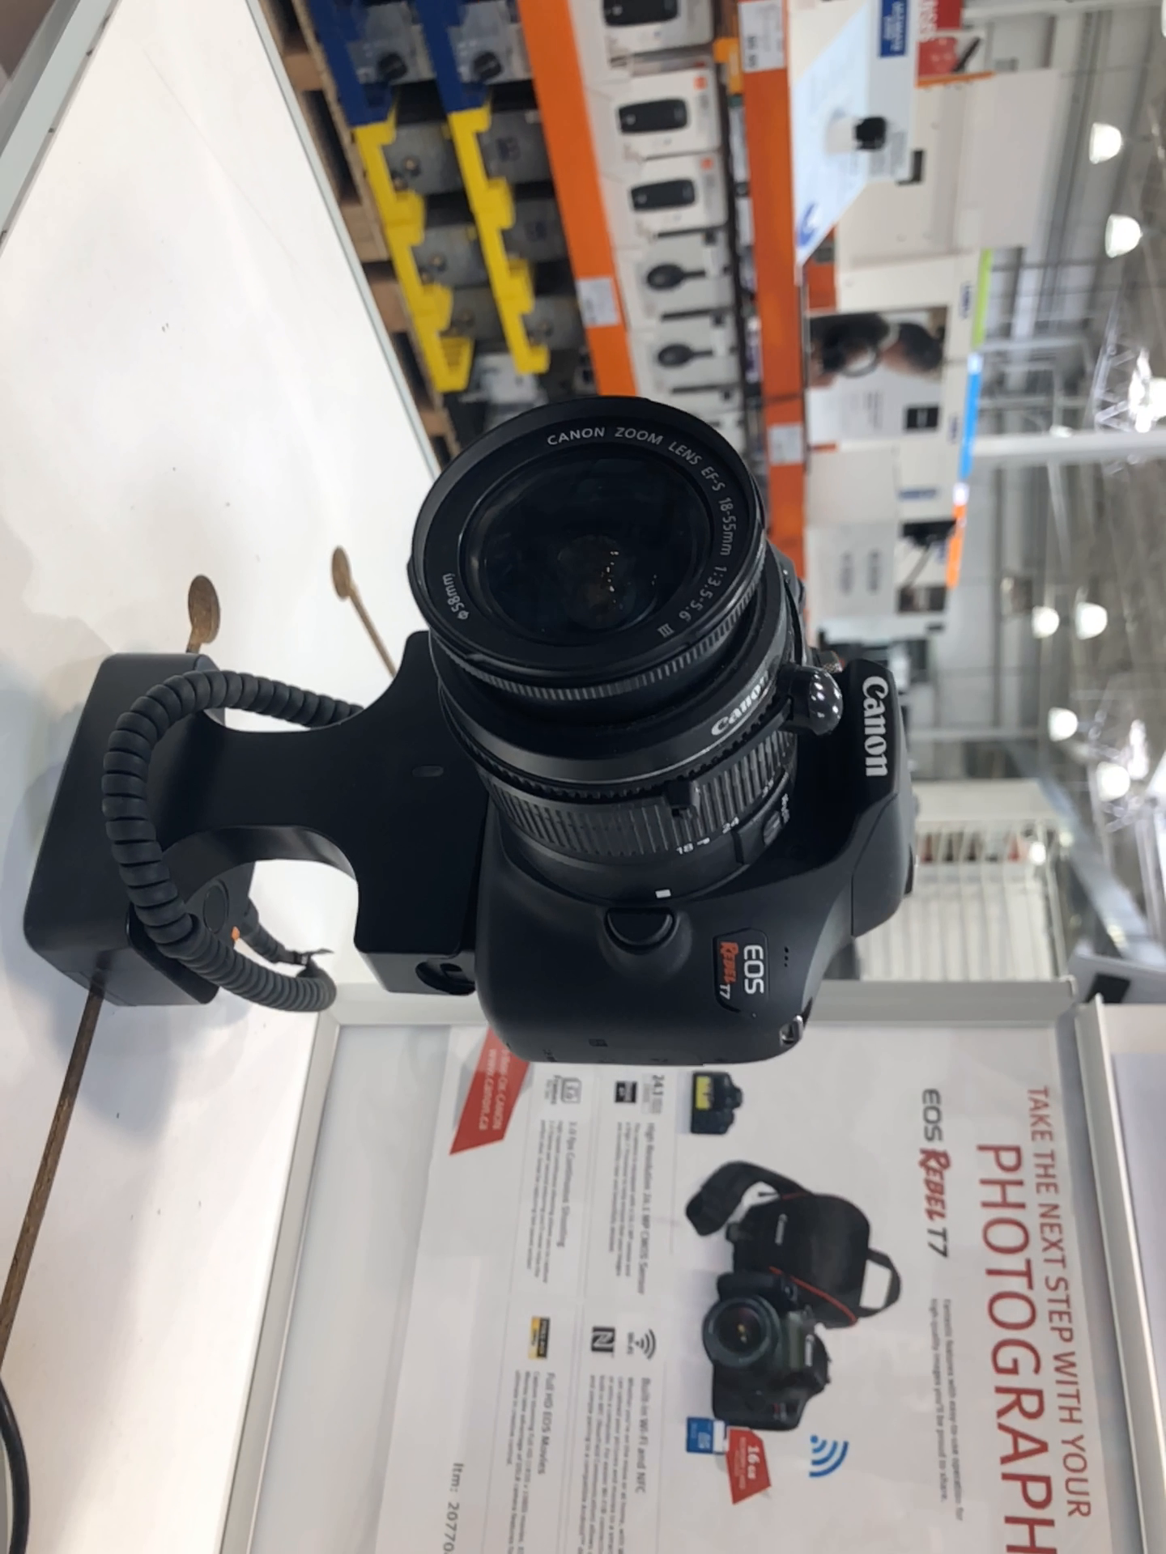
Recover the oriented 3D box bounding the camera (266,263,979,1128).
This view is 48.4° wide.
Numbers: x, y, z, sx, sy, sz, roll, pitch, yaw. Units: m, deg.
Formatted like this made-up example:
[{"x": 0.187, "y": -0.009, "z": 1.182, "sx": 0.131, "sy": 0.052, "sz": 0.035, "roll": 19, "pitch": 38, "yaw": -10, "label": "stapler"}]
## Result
[{"x": 0.021, "y": -0.005, "z": 0.293, "sx": 0.150, "sy": 0.110, "sz": 0.130, "roll": 70, "pitch": 22, "yaw": -60, "label": "camera"}]
